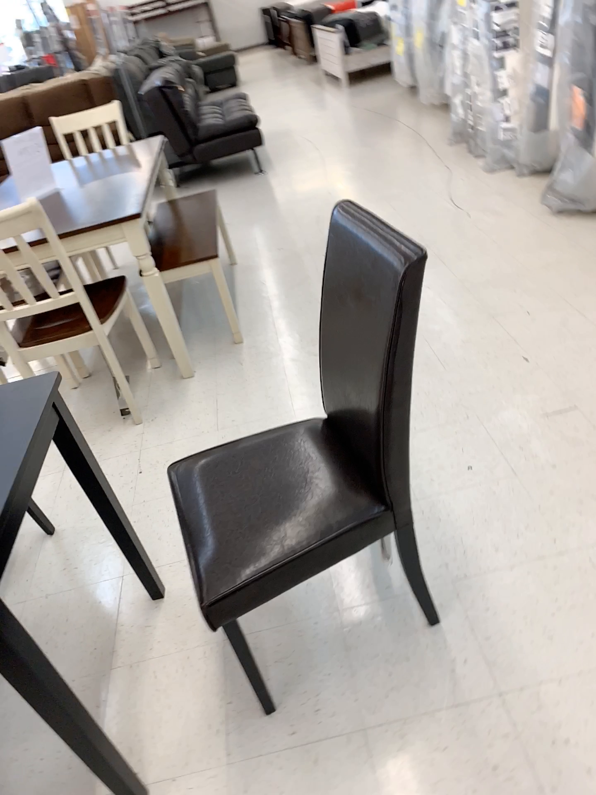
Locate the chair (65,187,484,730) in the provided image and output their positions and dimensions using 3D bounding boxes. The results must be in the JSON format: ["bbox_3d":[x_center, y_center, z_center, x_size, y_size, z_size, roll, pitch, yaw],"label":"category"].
[{"bbox_3d":[-0.005,0.147,1.287,0.594,0.930,0.426,-21,34,-9],"label":"chair"}]

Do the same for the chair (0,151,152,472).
[{"bbox_3d":[-0.956,-0.337,2.336,0.464,0.950,0.668,-16,34,-2],"label":"chair"}]

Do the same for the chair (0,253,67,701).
[{"bbox_3d":[-1.047,0.211,1.590,0.414,0.930,0.597,-16,34,-2],"label":"chair"}]

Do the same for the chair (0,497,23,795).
[{"bbox_3d":[-0.777,0.719,0.758,0.414,0.930,0.597,-24,35,-13],"label":"chair"}]
